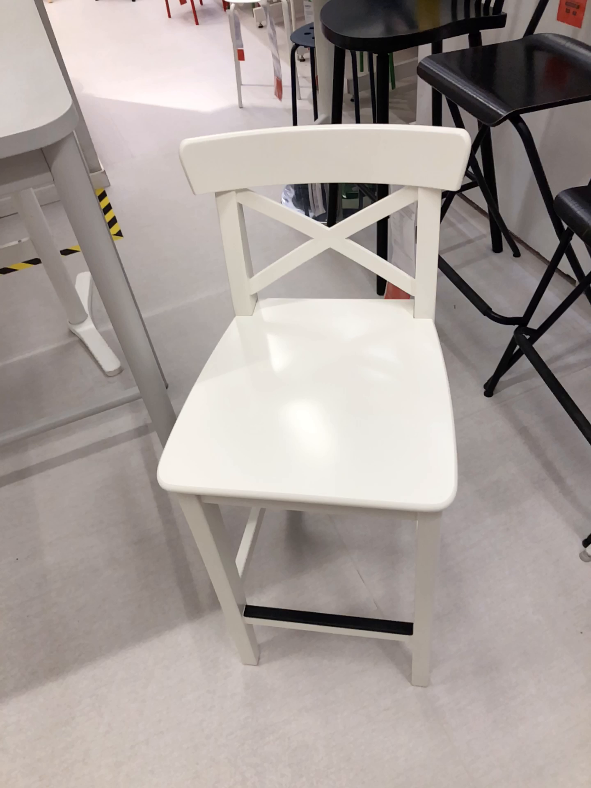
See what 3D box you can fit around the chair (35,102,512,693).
[{"bbox_3d":[0.046,0.071,0.998,0.420,0.835,0.423,3,48,11],"label":"chair"}]
